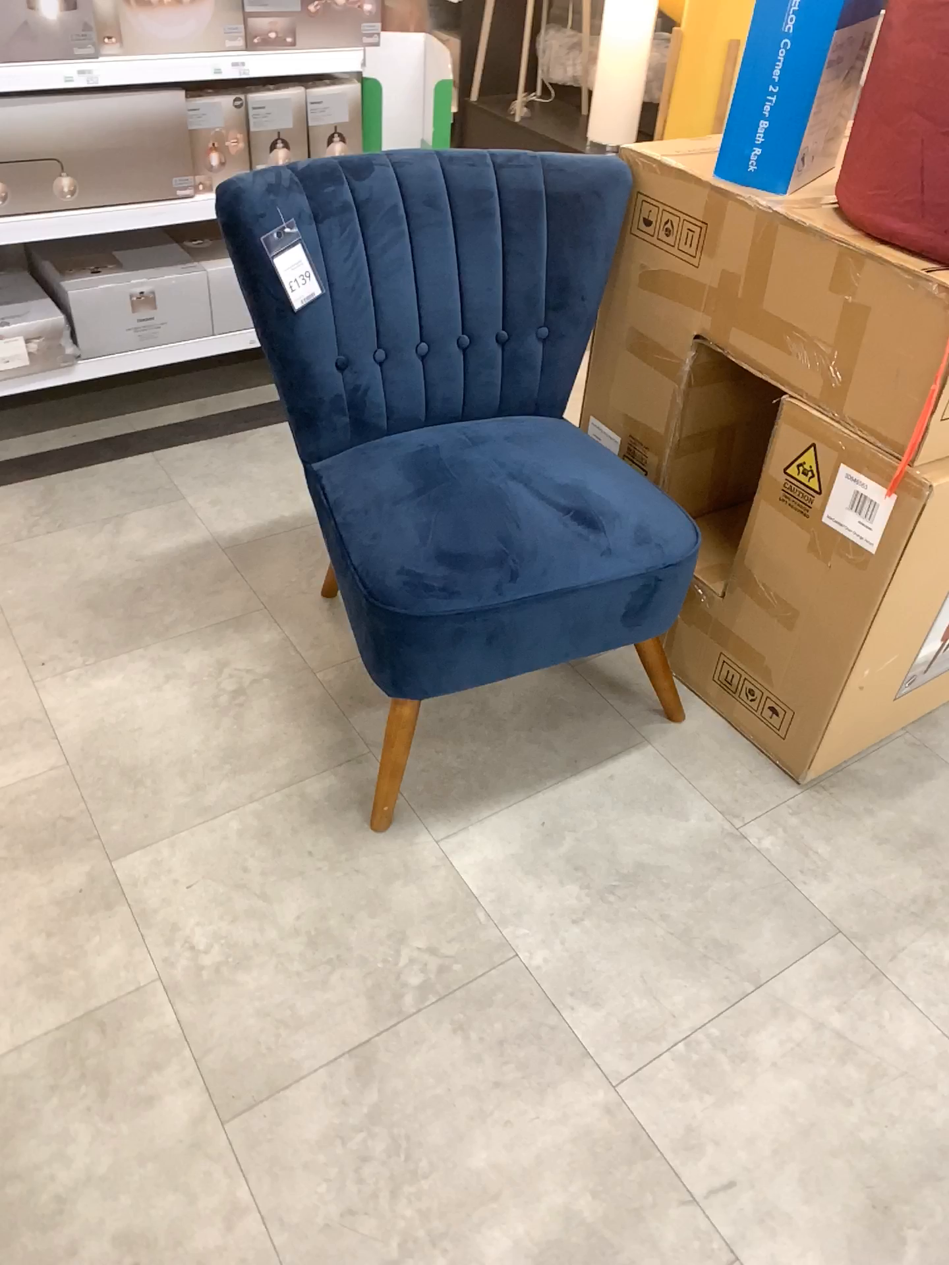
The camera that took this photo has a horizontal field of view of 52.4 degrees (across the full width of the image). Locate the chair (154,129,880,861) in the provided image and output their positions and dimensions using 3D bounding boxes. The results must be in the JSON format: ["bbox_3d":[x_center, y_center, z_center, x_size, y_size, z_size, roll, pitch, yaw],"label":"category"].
[{"bbox_3d":[-0.008,-0.272,1.563,0.731,0.789,0.731,-15,44,-23],"label":"chair"}]
